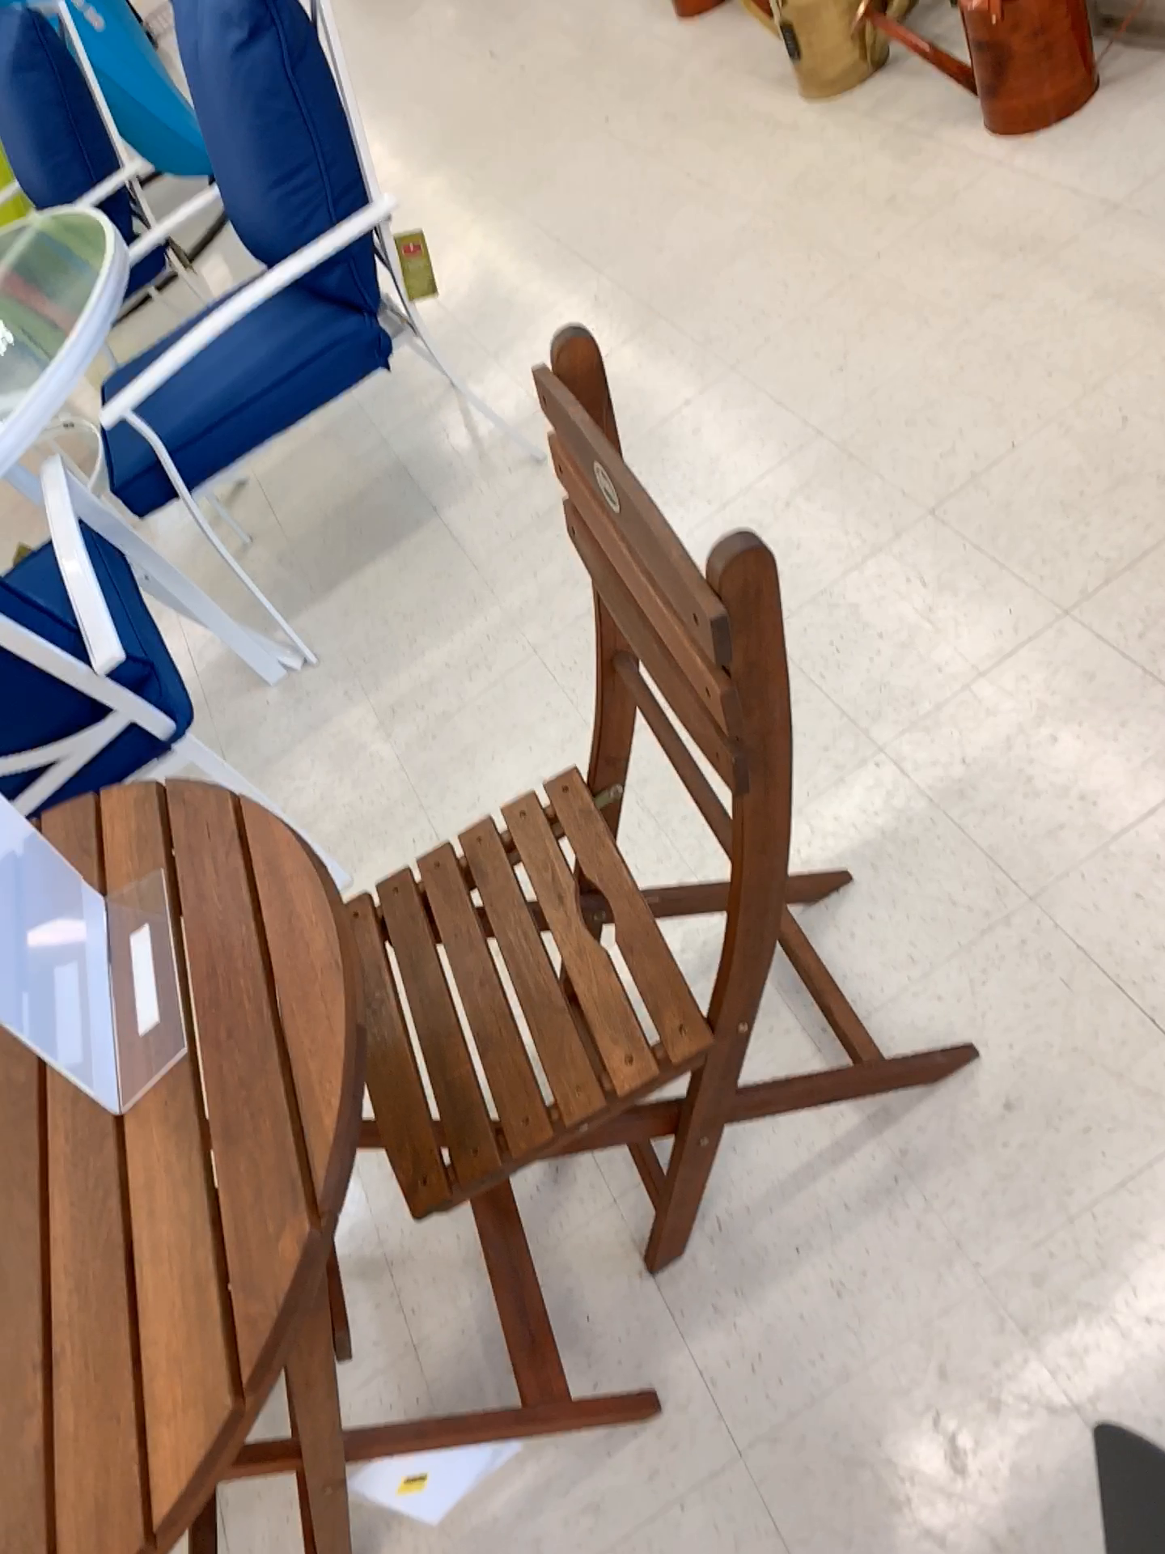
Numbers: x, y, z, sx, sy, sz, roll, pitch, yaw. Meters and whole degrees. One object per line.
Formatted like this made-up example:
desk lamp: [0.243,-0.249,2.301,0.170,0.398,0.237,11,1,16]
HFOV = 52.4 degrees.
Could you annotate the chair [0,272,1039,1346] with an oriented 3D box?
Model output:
chair: [-0.017,0.097,1.099,0.550,0.776,0.442,-35,46,5]
